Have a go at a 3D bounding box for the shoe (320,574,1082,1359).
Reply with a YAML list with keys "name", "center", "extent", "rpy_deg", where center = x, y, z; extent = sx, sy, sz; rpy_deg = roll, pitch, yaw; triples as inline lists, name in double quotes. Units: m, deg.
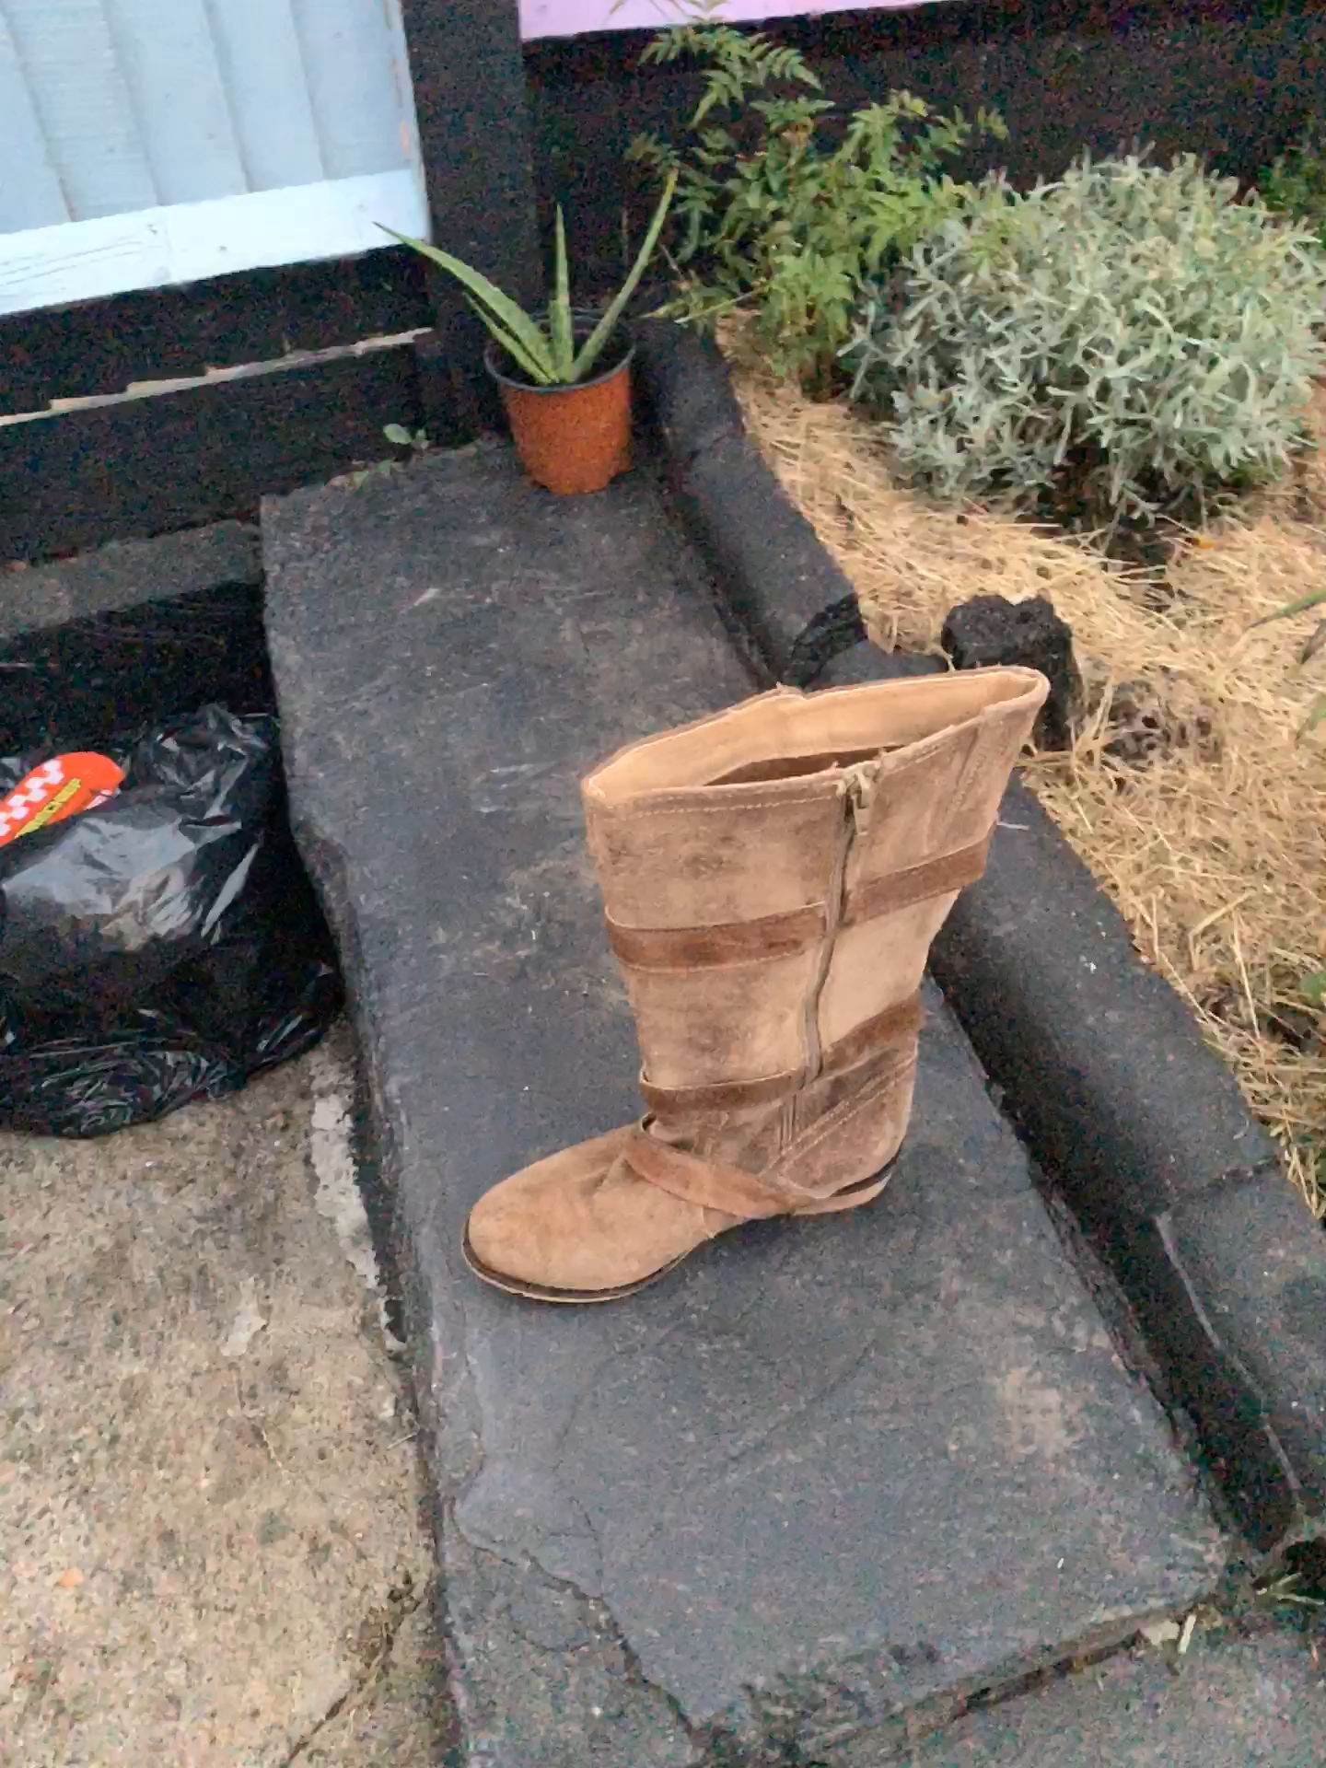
- name: "shoe"
  center: [0.017, 0.063, 0.647]
  extent: [0.270, 0.376, 0.101]
  rpy_deg: [-13, 48, -10]
